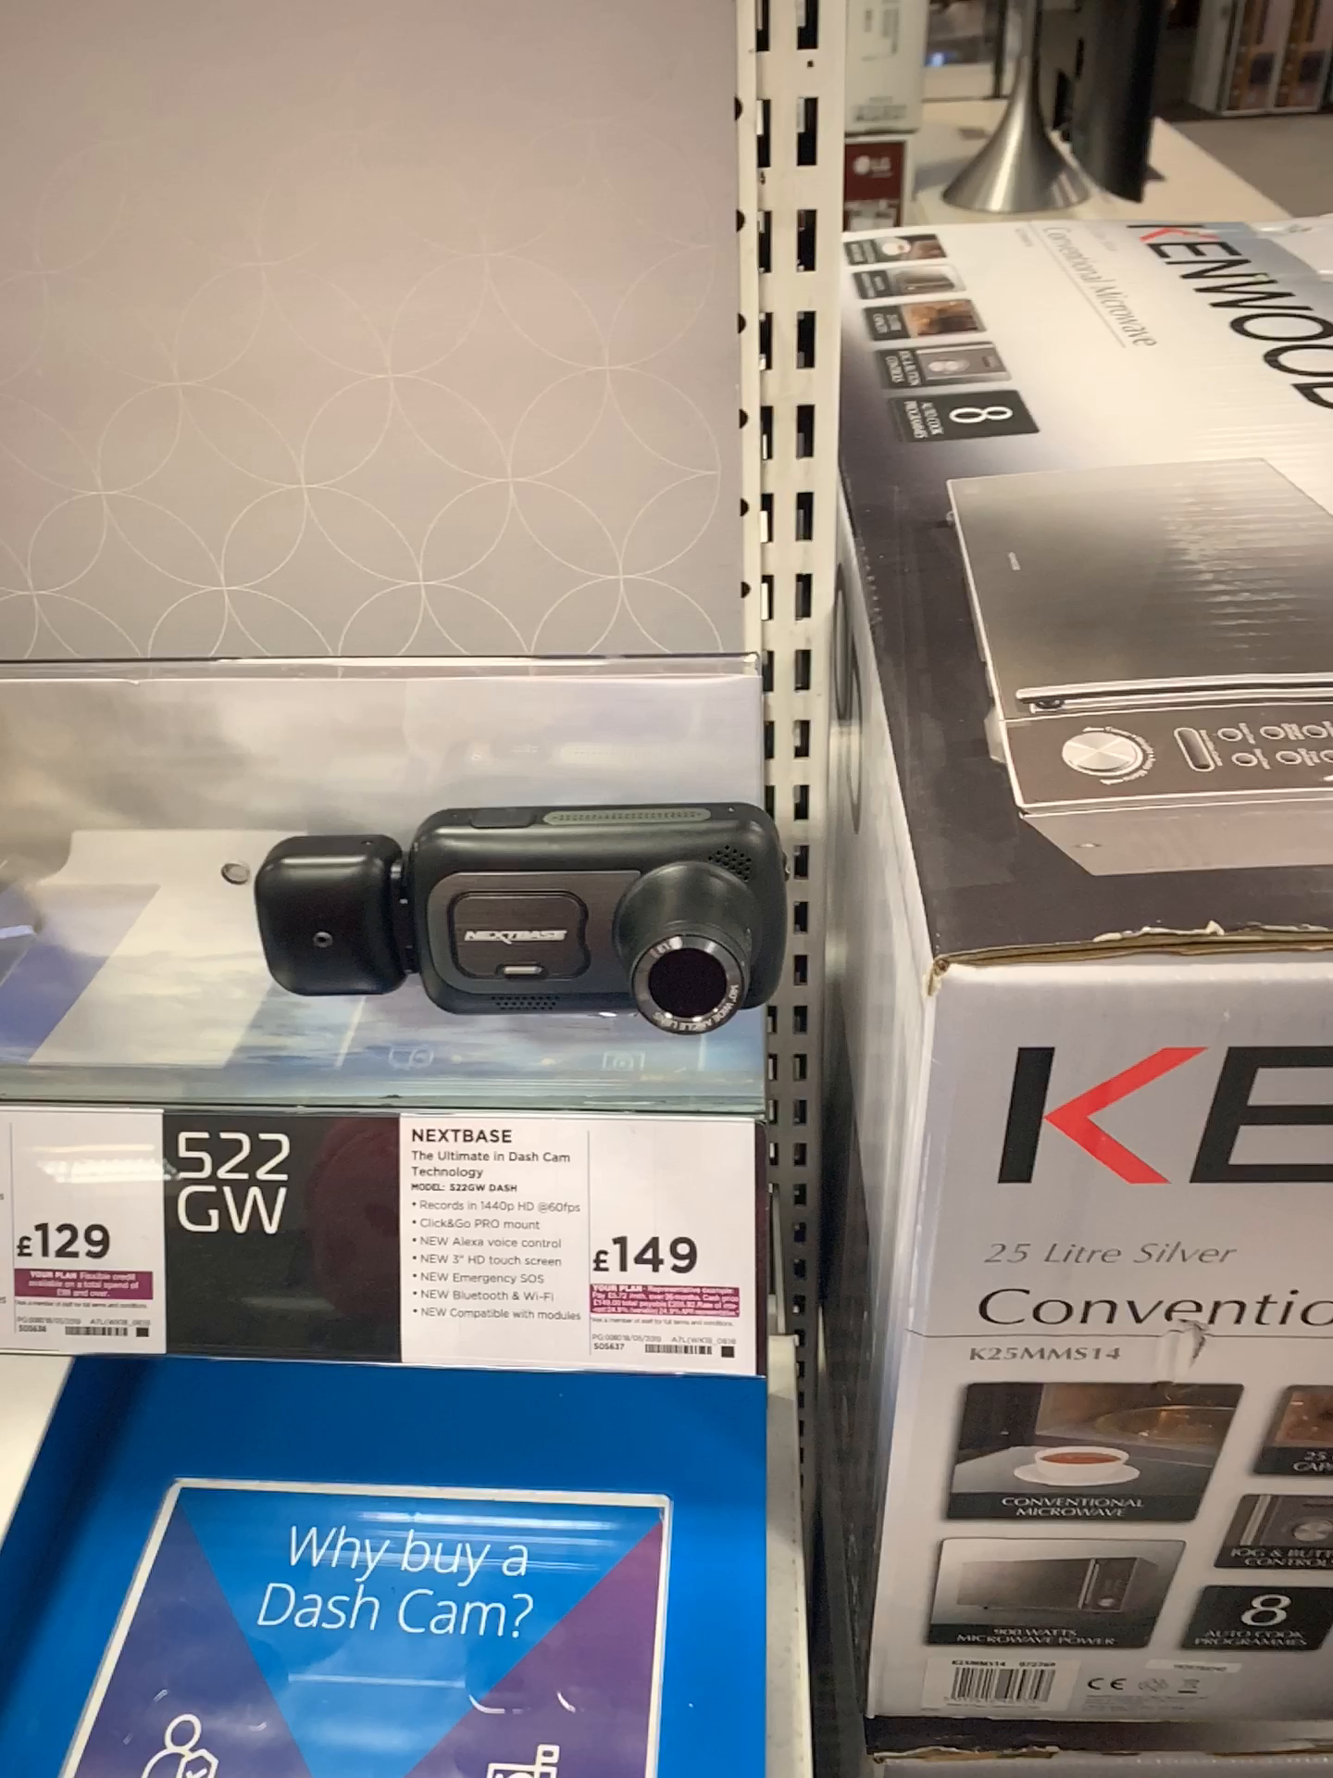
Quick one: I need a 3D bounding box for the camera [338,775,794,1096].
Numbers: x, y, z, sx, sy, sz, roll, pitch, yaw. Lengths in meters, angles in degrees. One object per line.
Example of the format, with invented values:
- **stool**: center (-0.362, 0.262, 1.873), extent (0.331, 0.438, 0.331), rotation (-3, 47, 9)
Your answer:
- **camera**: center (-0.021, 0.010, 0.339), extent (0.100, 0.050, 0.061), rotation (-2, 32, 2)
